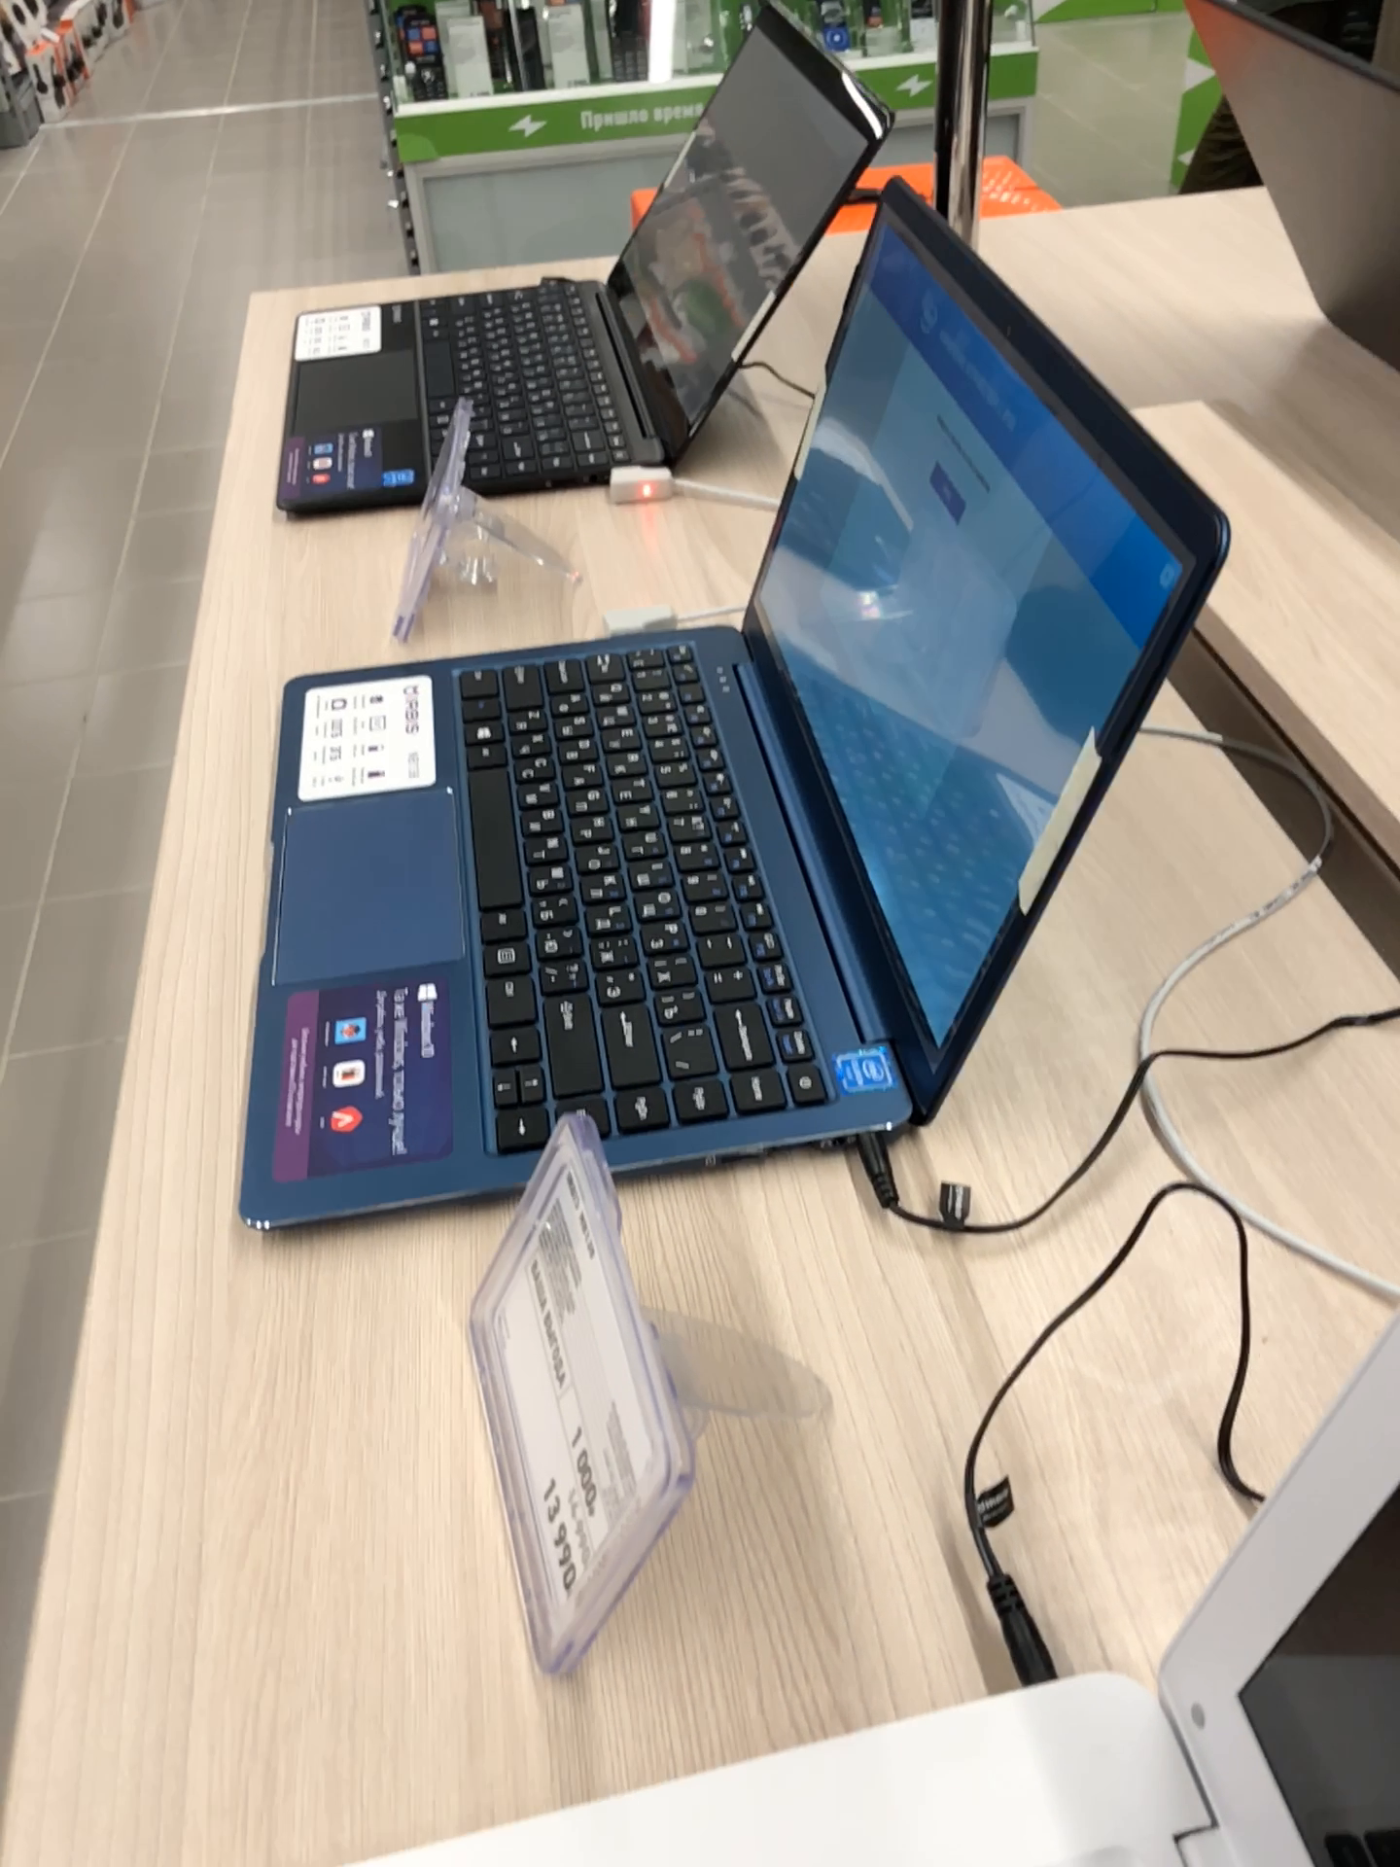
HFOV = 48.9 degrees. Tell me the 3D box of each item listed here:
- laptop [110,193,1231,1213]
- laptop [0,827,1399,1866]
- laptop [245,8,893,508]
[{"bbox_3d":[-0.020,-0.105,0.543,0.270,0.185,0.310,-8,40,-5],"label":"laptop"},{"bbox_3d":[0.046,0.187,0.150,0.288,0.218,0.312,-10,39,-6],"label":"laptop"},{"bbox_3d":[-0.083,-0.420,0.929,0.327,0.155,0.302,-10,42,-6],"label":"laptop"}]
